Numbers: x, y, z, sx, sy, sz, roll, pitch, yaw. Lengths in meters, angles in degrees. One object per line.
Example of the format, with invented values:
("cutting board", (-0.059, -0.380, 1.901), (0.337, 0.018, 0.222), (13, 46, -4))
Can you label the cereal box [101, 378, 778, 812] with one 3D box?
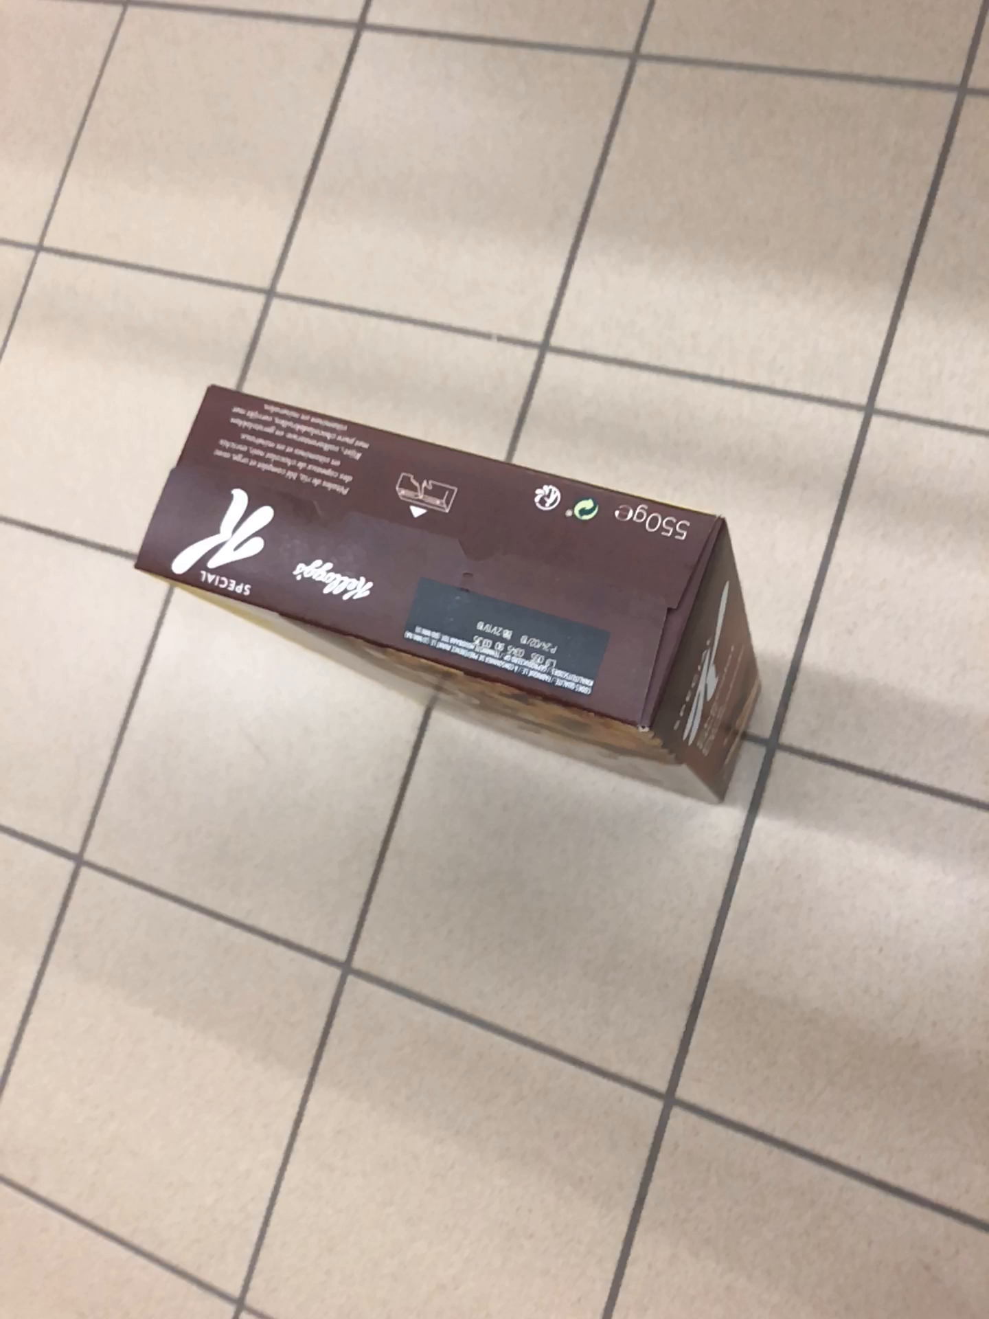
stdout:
("cereal box", (0.011, -0.008, 0.489), (0.210, 0.300, 0.070), (14, 81, 18))
